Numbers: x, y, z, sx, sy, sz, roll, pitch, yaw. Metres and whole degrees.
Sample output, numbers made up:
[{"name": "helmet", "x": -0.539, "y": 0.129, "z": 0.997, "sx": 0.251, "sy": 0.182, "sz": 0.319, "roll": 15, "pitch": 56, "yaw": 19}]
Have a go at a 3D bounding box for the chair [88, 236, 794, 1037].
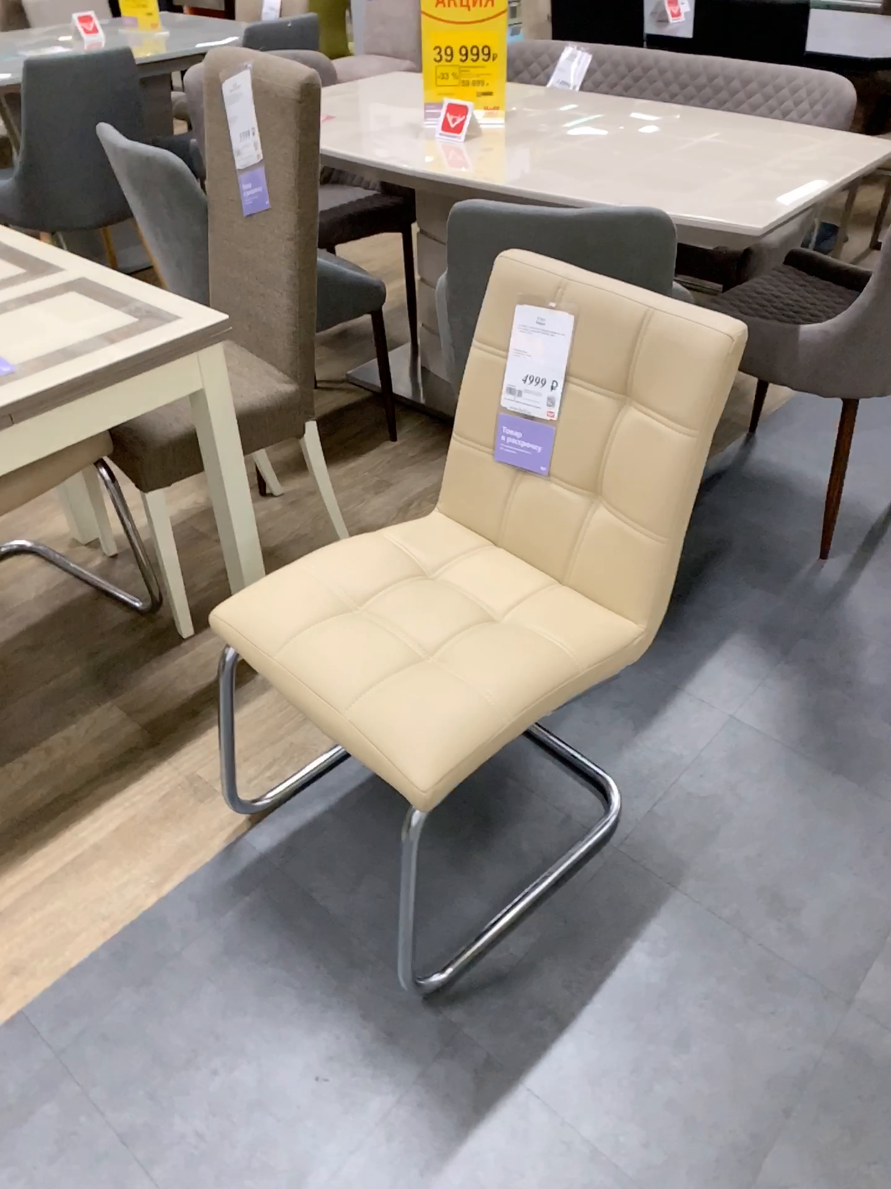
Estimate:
[{"name": "chair", "x": 0.009, "y": 0.025, "z": 1.329, "sx": 0.652, "sy": 0.815, "sz": 0.531, "roll": -30, "pitch": 46, "yaw": -32}]
